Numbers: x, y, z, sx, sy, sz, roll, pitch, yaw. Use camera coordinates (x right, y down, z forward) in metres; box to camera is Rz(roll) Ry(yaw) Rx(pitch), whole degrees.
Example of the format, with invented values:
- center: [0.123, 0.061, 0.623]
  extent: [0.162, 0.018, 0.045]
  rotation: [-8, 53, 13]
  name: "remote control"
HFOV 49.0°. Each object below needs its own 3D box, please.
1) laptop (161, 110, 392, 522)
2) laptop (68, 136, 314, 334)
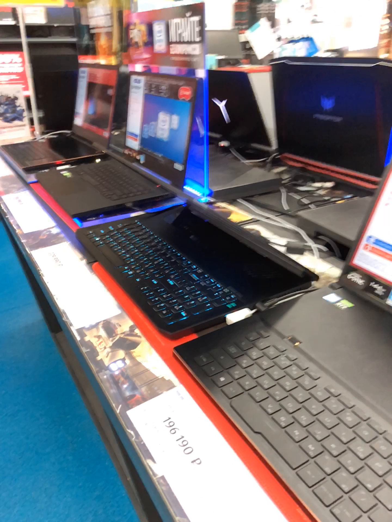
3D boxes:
- center: [0.216, 0.029, 0.381]
  extent: [0.363, 0.236, 0.373]
  rotation: [-16, 30, -26]
  name: "laptop"
- center: [-0.035, -0.079, 0.695]
  extent: [0.226, 0.152, 0.372]
  rotation: [-17, 31, -26]
  name: "laptop"
